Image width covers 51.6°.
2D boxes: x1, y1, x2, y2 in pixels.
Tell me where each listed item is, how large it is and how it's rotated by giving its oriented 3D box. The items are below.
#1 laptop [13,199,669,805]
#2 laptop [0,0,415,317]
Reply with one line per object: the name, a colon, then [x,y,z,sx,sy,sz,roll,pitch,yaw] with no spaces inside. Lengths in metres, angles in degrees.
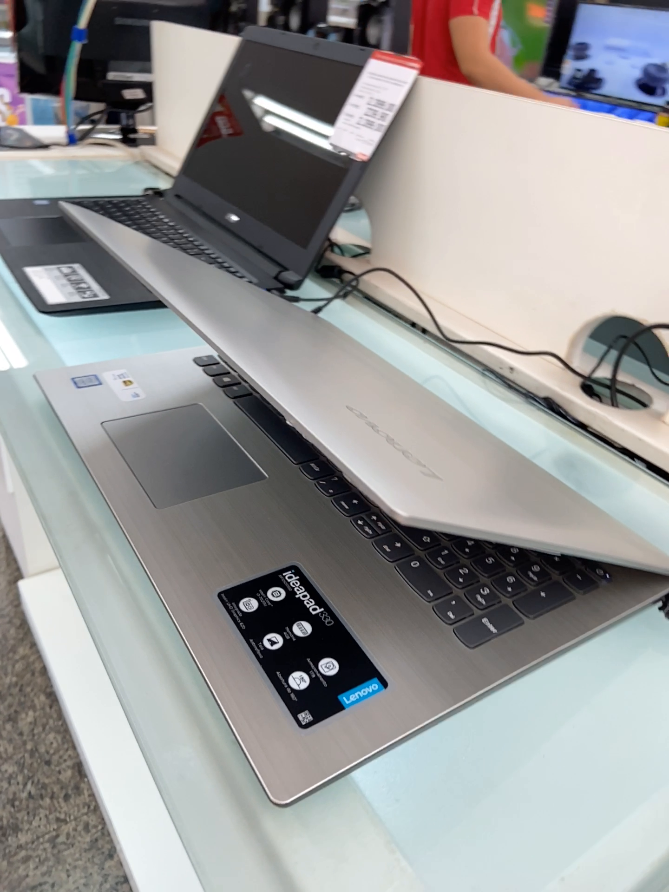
laptop: [-0.011,-0.038,0.406,0.247,0.114,0.370,-15,37,-29]
laptop: [-0.181,-0.350,0.779,0.401,0.211,0.355,-18,41,-33]
